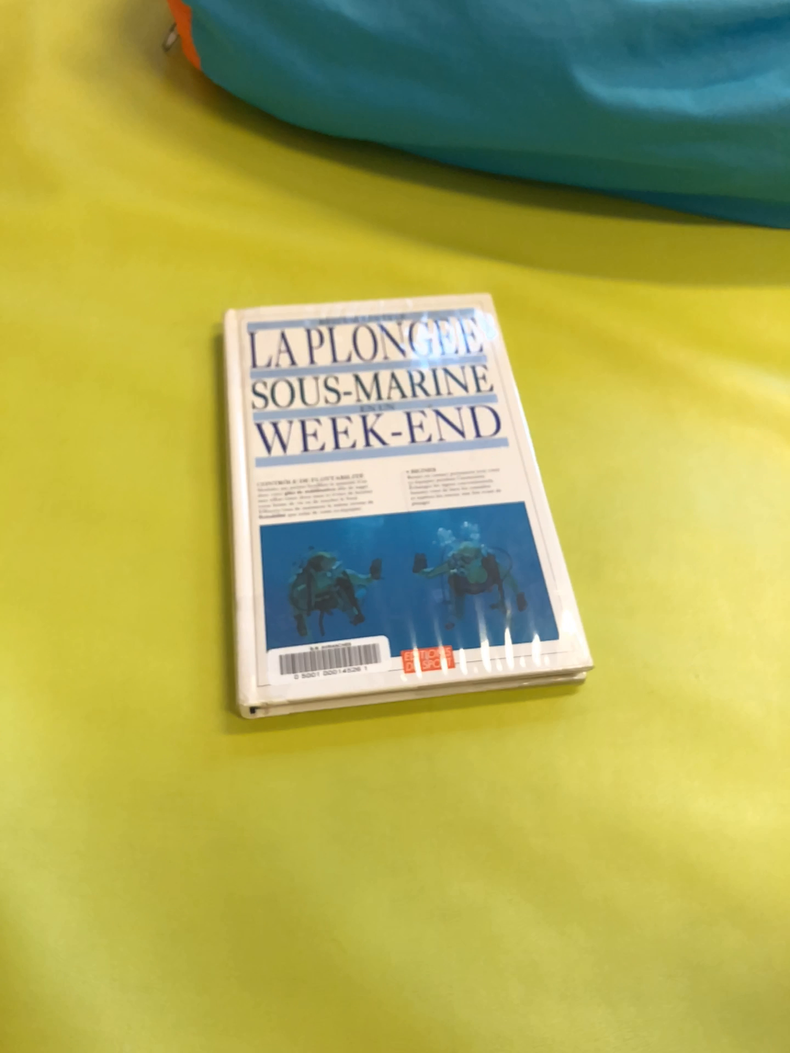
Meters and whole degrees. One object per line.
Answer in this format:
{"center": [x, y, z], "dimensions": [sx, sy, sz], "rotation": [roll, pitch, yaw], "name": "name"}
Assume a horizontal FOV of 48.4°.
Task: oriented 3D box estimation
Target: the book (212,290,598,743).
{"center": [-0.008, -0.021, 0.422], "dimensions": [0.150, 0.020, 0.235], "rotation": [-5, 57, -6], "name": "book"}
